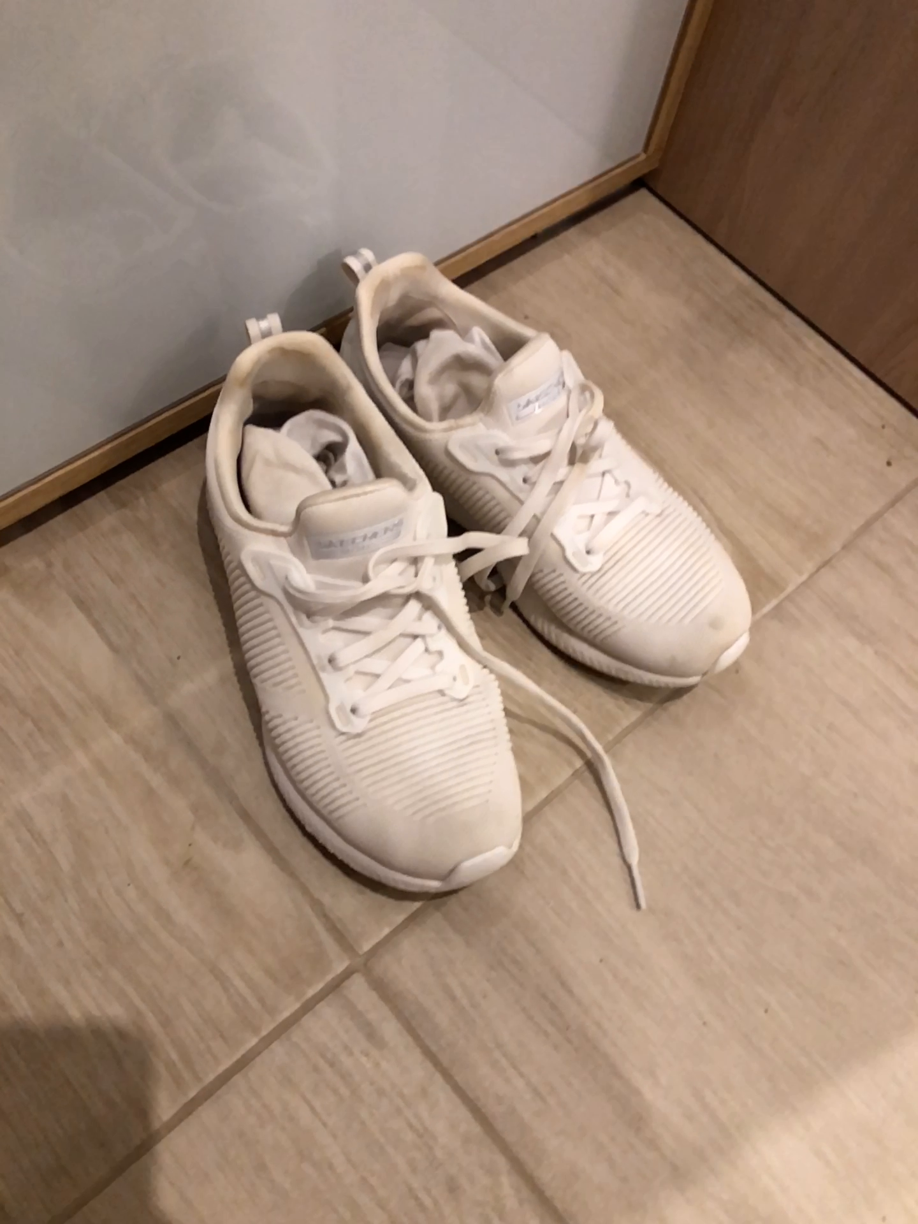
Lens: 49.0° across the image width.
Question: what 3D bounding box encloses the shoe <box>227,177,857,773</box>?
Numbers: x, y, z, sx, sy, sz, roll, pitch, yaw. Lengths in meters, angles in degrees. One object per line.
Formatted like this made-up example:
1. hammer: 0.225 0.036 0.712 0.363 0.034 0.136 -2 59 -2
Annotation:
1. shoe: 0.027 -0.070 0.498 0.280 0.110 0.110 41 65 14

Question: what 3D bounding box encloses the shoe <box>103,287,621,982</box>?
1. shoe: -0.054 0.003 0.450 0.110 0.110 0.271 -20 67 -17
